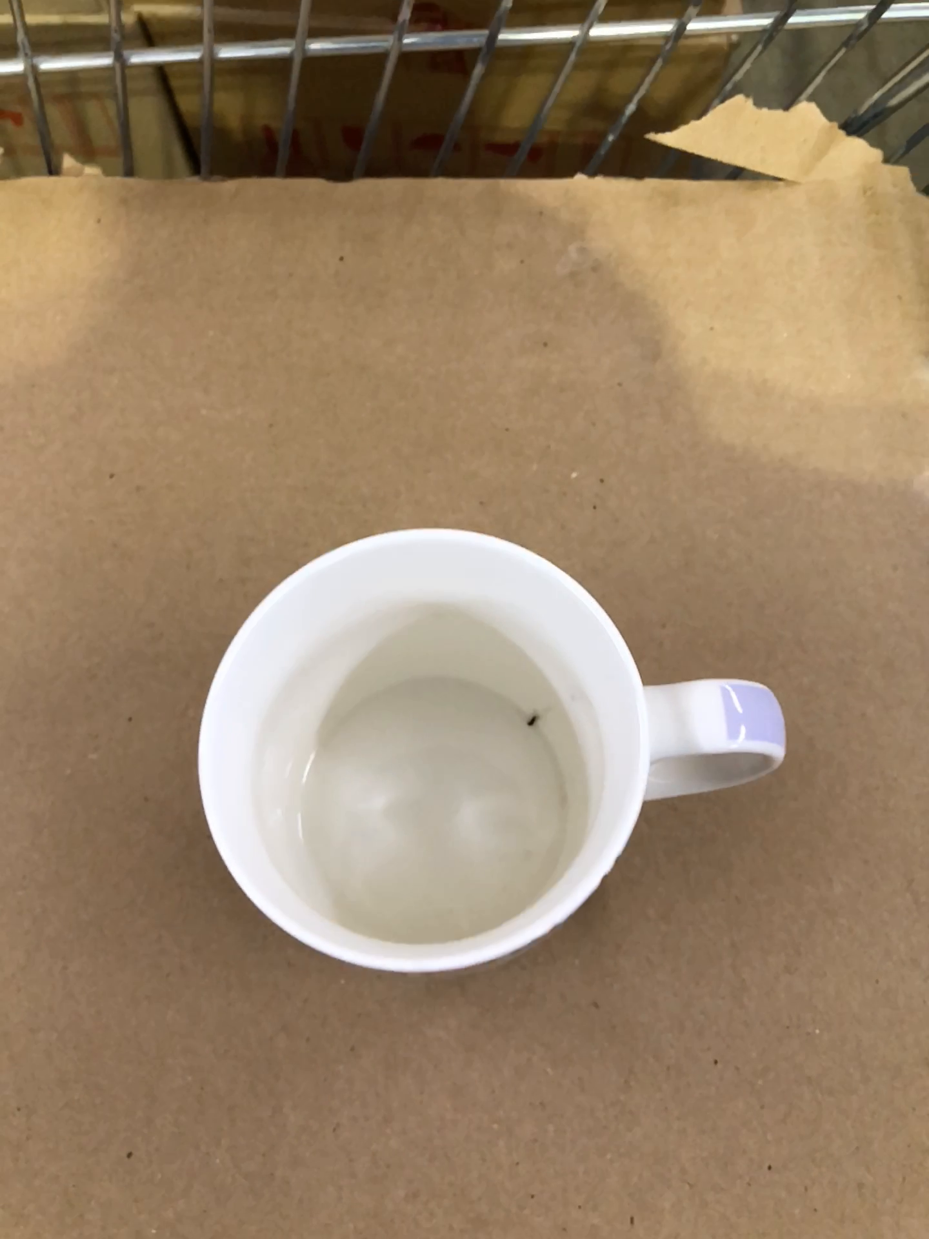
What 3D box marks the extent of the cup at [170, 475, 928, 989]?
[{"bbox_3d":[0.013,0.032,0.245,0.140,0.090,0.090,-4,69,-2],"label":"cup"}]
